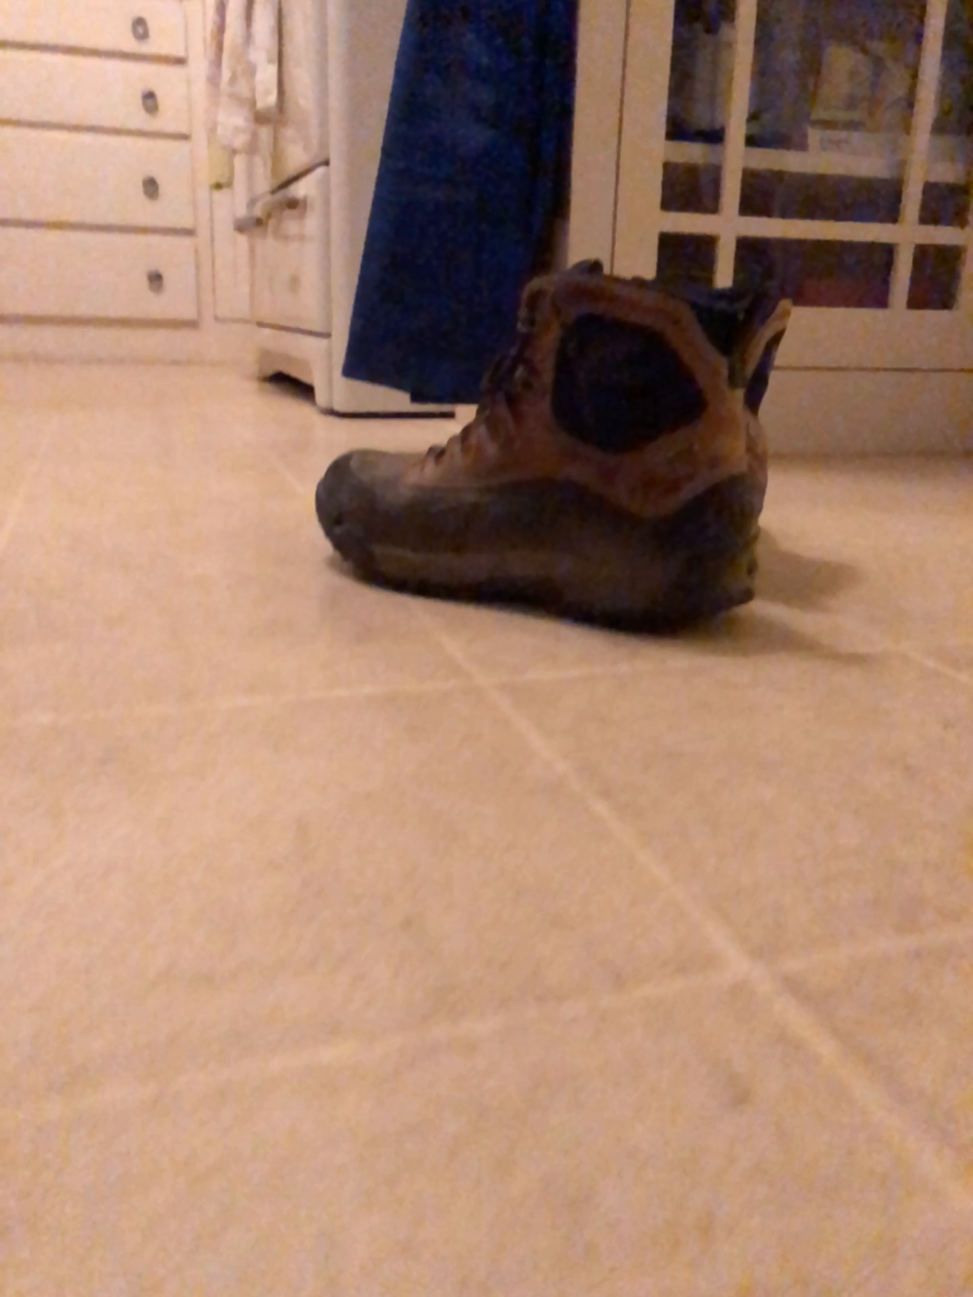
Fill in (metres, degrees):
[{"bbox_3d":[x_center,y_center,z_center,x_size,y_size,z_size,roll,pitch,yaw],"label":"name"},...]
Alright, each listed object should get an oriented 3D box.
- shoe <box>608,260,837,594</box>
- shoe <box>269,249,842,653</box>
[{"bbox_3d":[0.155,-0.169,0.759,0.113,0.185,0.294,4,18,8],"label":"shoe"},{"bbox_3d":[0.028,-0.130,0.624,0.299,0.185,0.122,13,20,31],"label":"shoe"}]
